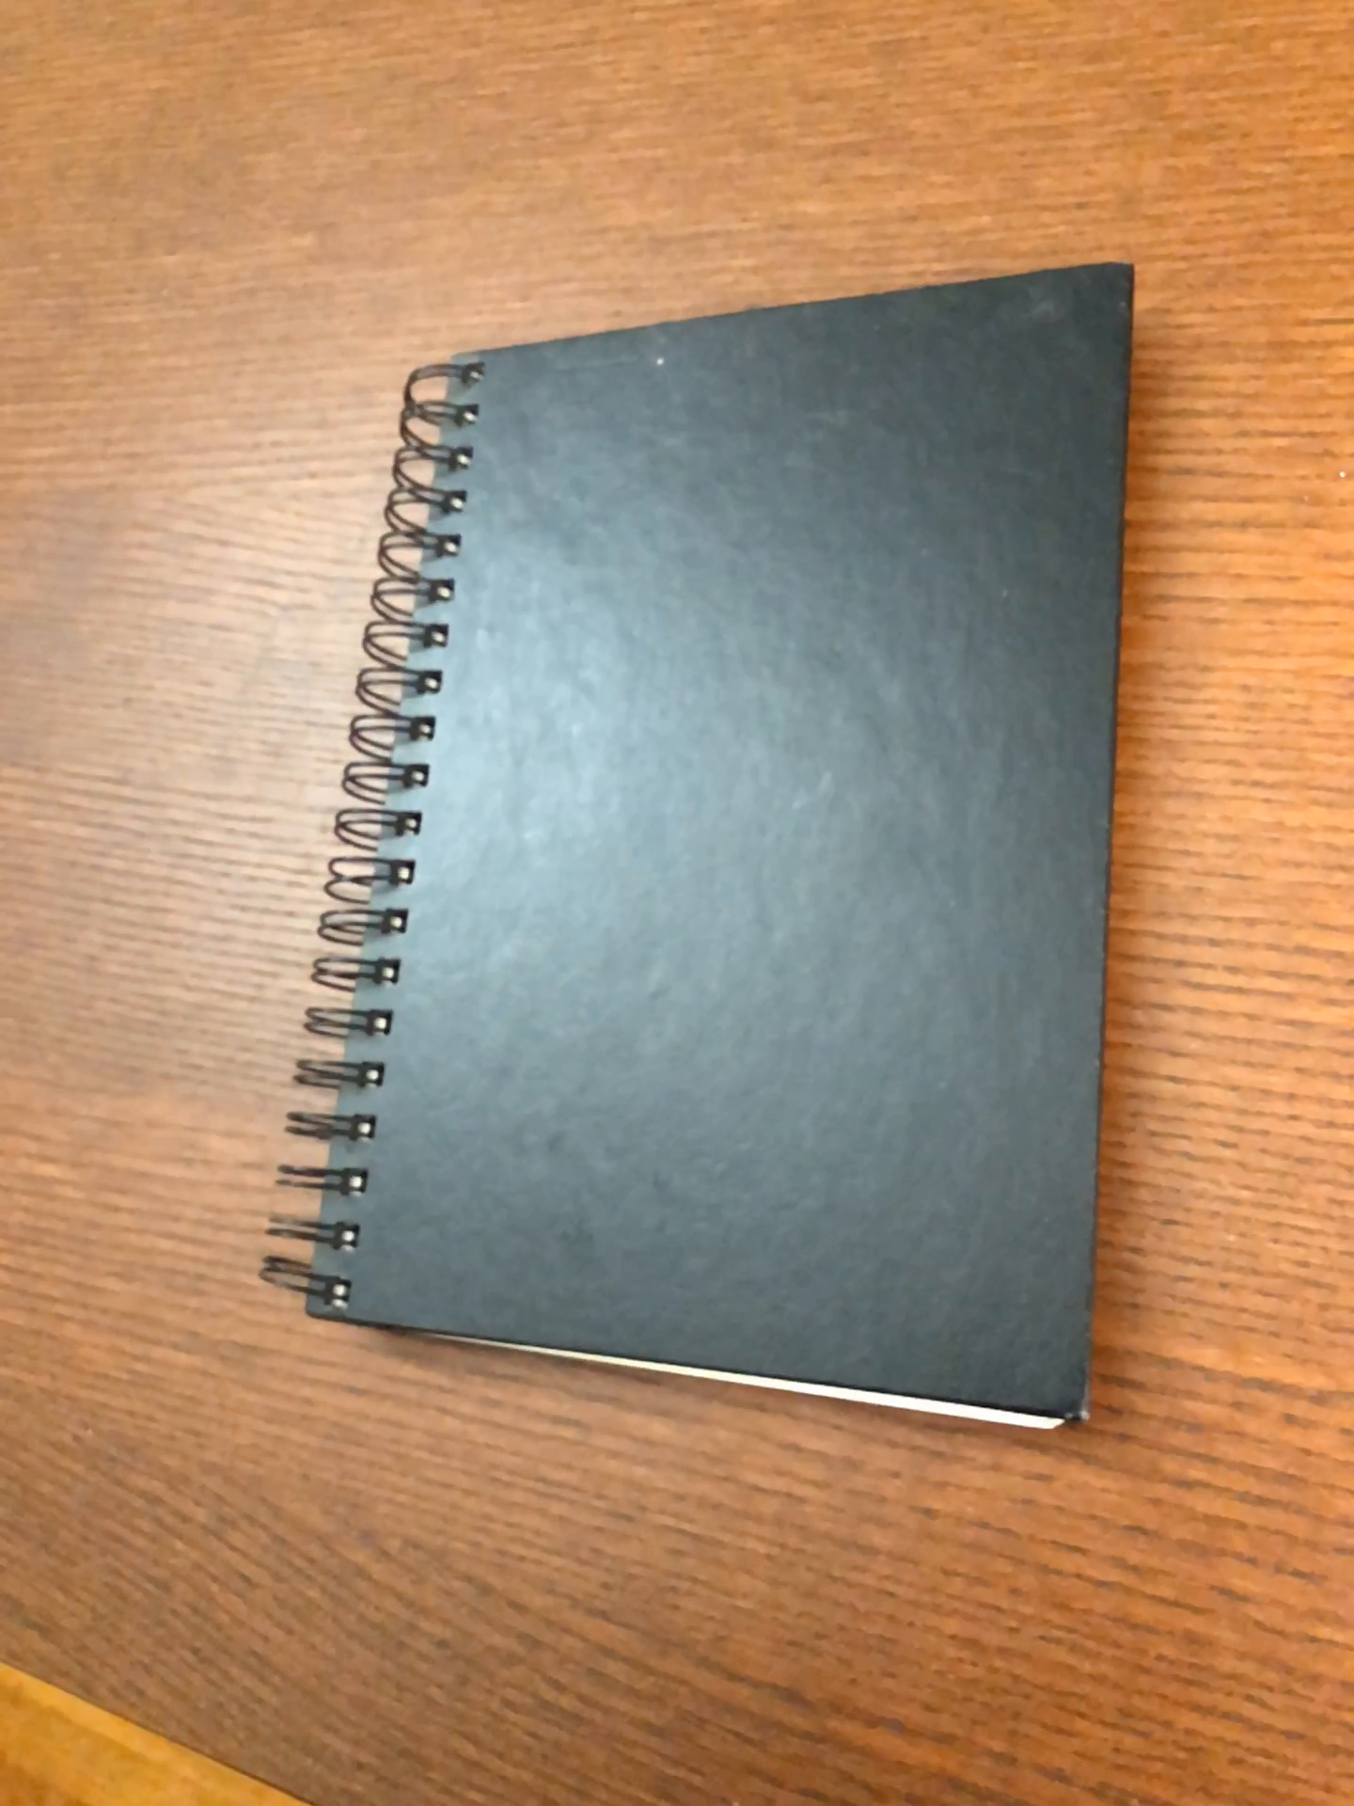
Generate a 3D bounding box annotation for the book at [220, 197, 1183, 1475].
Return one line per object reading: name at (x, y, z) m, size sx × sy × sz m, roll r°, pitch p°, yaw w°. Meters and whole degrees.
book at (0.008, -0.022, 0.345) m, size 0.200 × 0.030 × 0.260 m, roll 0°, pitch 75°, yaw 22°
